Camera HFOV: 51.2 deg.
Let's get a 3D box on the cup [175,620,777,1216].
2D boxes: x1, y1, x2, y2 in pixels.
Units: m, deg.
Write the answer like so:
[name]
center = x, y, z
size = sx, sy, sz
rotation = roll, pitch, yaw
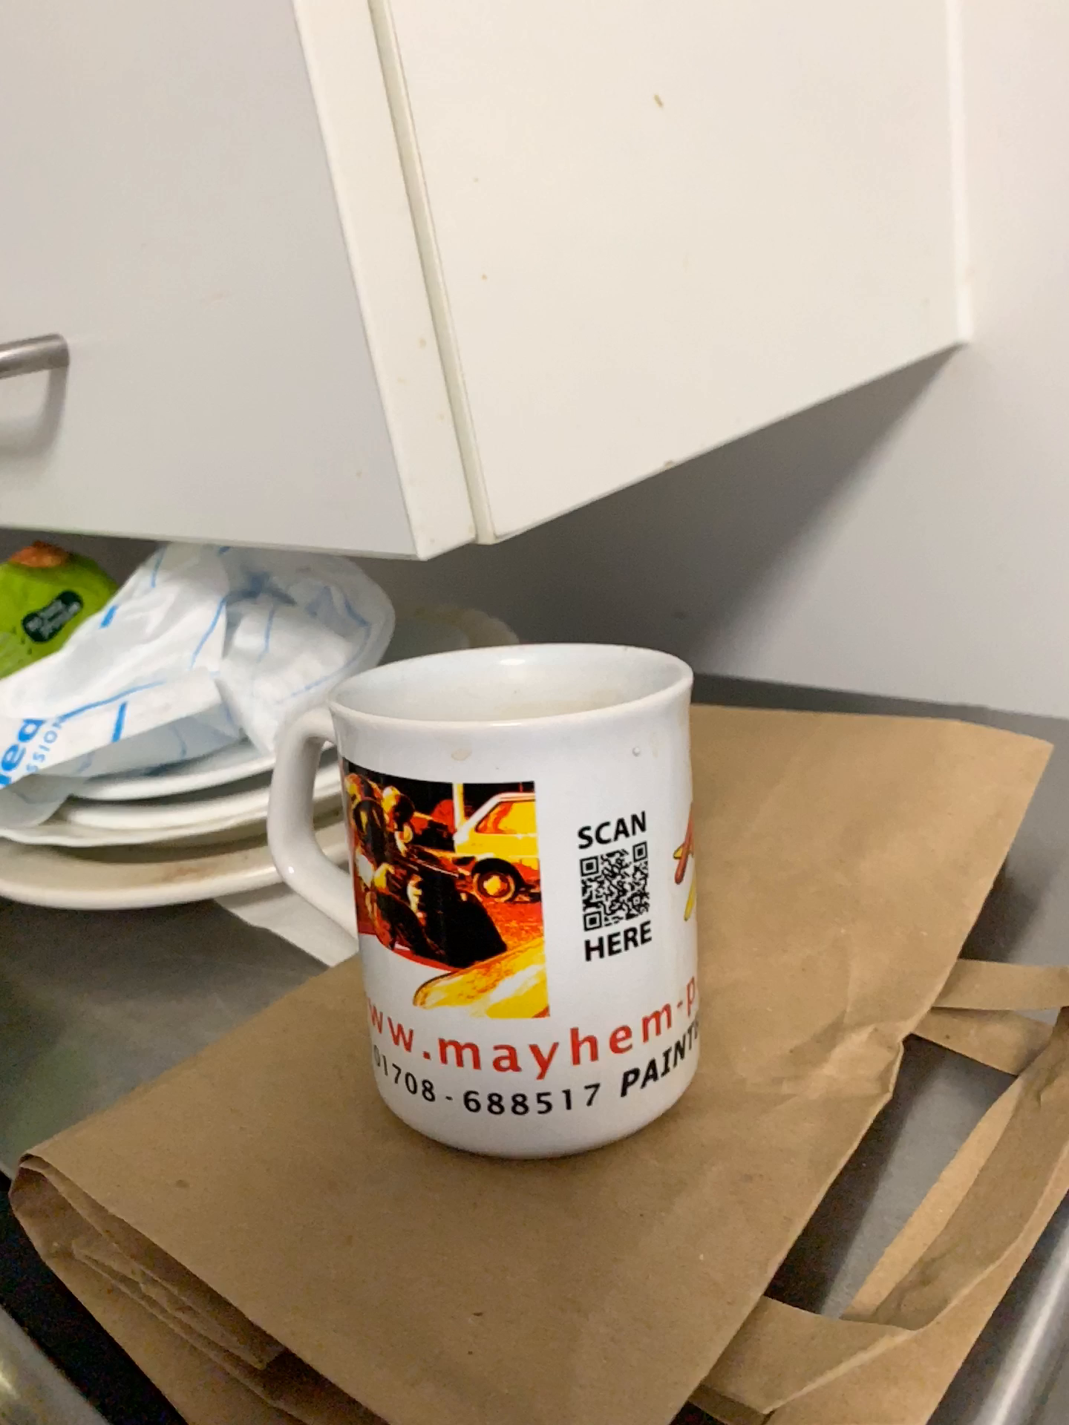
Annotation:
[cup]
center = -0.011, 0.032, 0.247
size = 0.100, 0.088, 0.078
rotation = 7, 17, 38
